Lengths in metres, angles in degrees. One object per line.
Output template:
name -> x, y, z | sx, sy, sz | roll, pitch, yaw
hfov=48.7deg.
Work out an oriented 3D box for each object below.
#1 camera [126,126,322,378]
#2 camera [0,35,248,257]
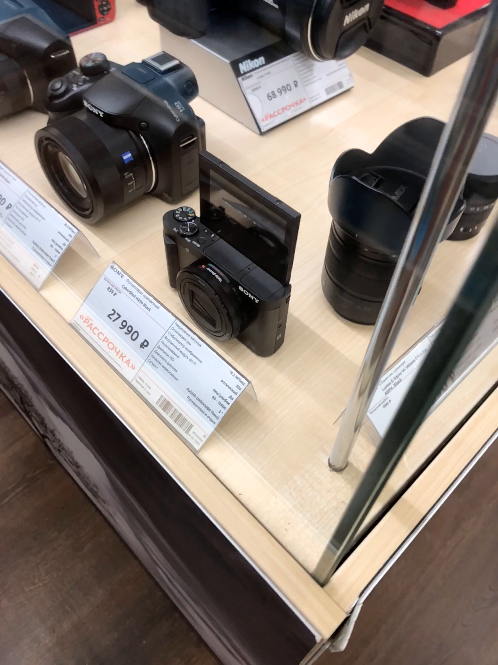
camera -> -0.016, -0.047, 0.335 | 0.050, 0.107, 0.100 | -37, 62, -26
camera -> -0.096, -0.156, 0.446 | 0.136, 0.078, 0.132 | -37, 62, -26
